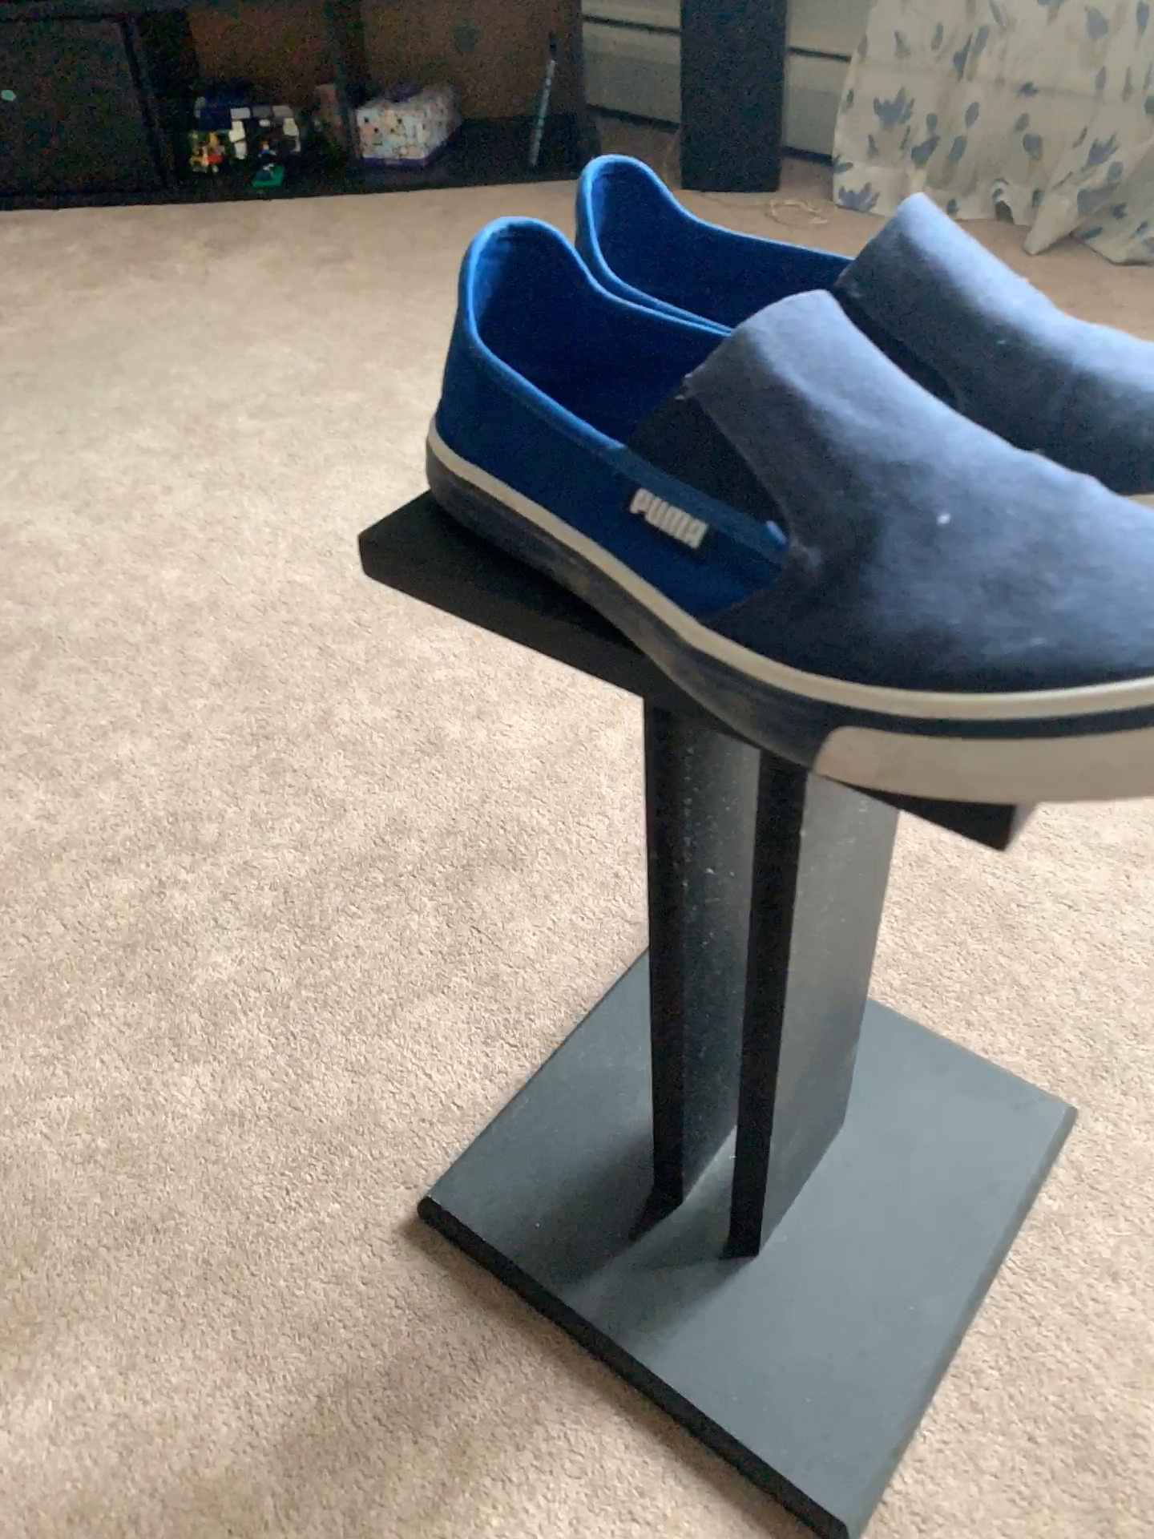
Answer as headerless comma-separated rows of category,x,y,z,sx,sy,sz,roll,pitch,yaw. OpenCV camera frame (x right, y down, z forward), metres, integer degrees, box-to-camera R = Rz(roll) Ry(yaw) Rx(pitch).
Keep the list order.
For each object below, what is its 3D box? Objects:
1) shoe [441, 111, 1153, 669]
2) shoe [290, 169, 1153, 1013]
shoe,0.115,-0.142,0.385,0.301,0.079,0.121,22,48,26
shoe,0.058,-0.082,0.326,0.121,0.079,0.302,-31,48,-28
